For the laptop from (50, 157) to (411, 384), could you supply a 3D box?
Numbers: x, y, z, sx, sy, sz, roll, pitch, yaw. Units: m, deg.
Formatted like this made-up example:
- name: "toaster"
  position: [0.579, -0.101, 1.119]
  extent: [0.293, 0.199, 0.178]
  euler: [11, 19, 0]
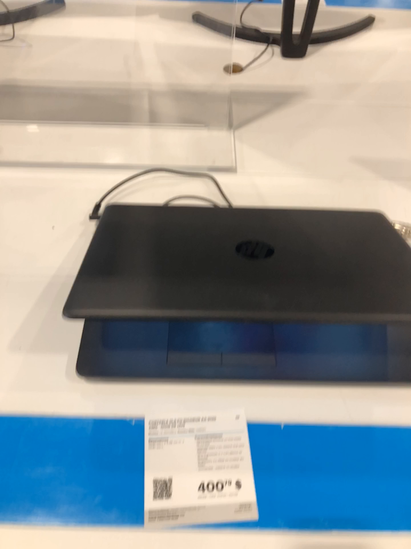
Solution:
- name: "laptop"
  position: [0.054, -0.010, 0.499]
  extent: [0.365, 0.092, 0.235]
  euler: [1, 52, -5]
